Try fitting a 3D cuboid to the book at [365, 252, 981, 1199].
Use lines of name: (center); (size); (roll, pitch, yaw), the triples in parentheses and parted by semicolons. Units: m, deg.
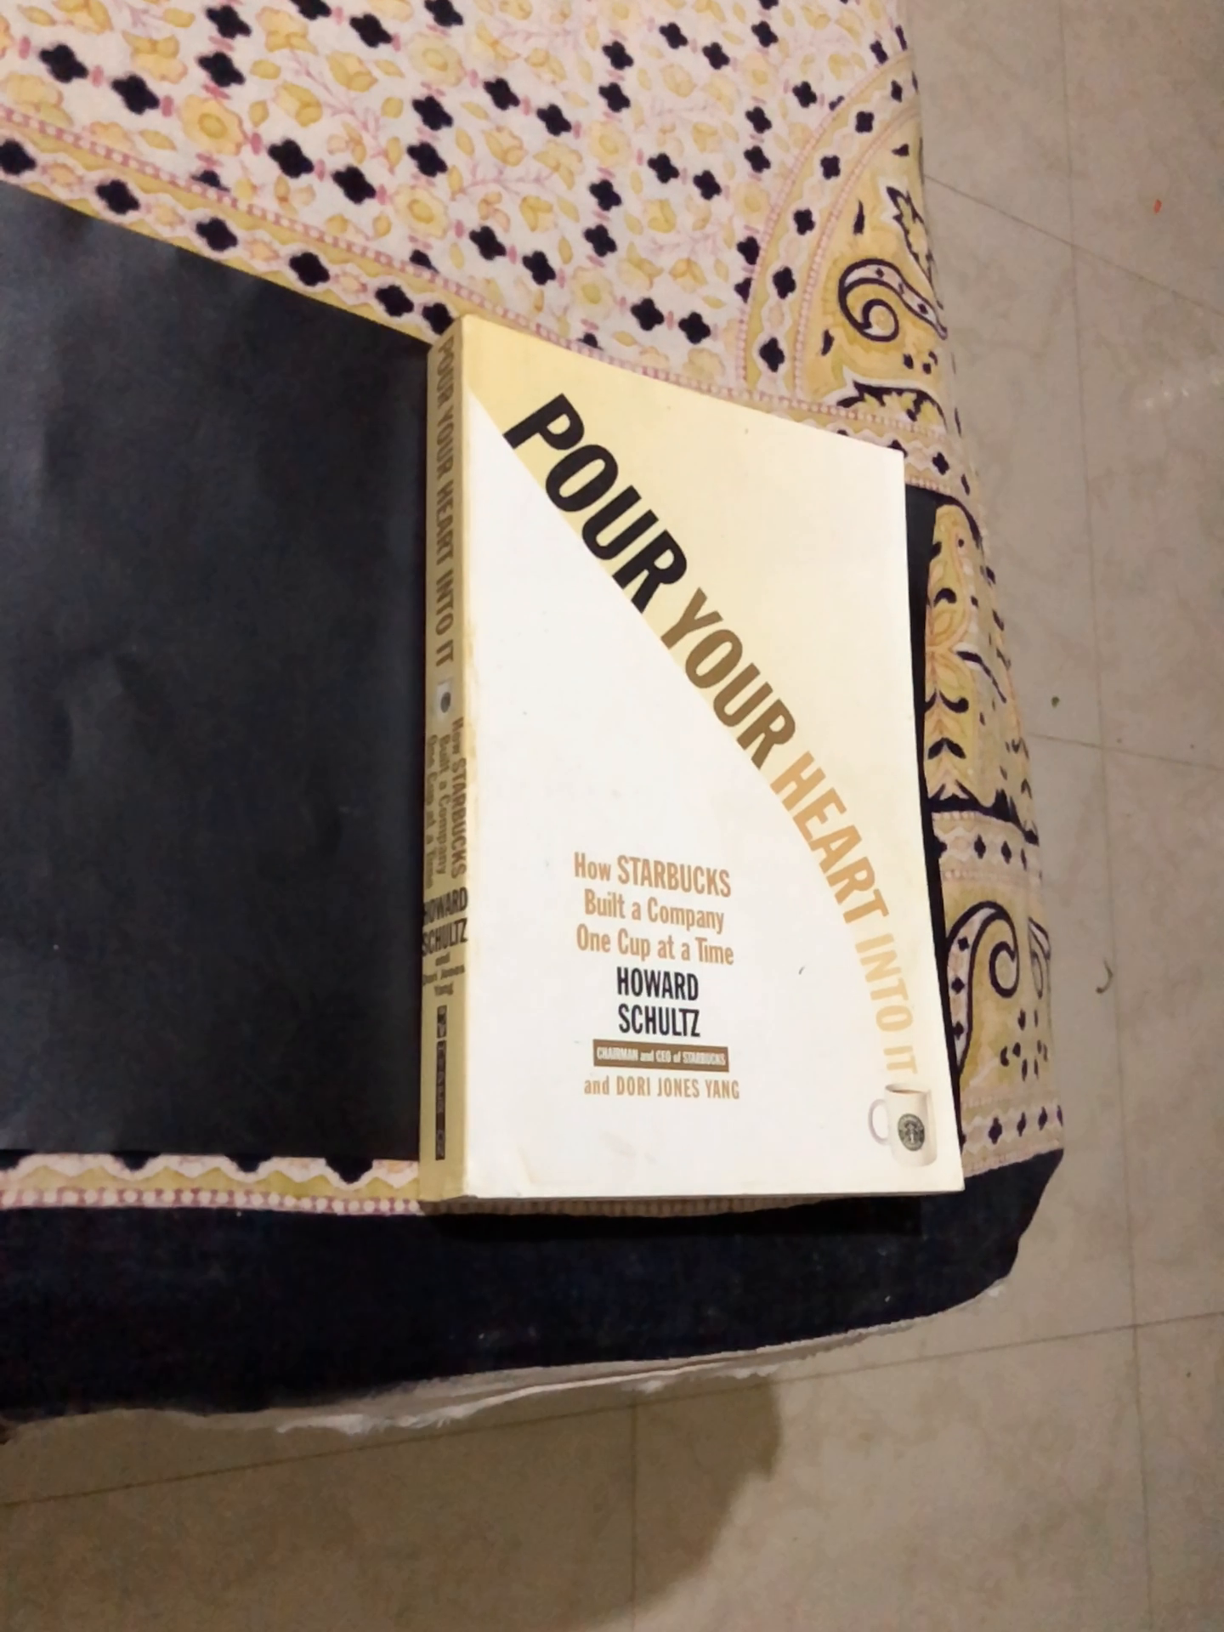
book: (0.019, -0.017, 0.386); (0.161, 0.050, 0.240); (9, 71, -31)
